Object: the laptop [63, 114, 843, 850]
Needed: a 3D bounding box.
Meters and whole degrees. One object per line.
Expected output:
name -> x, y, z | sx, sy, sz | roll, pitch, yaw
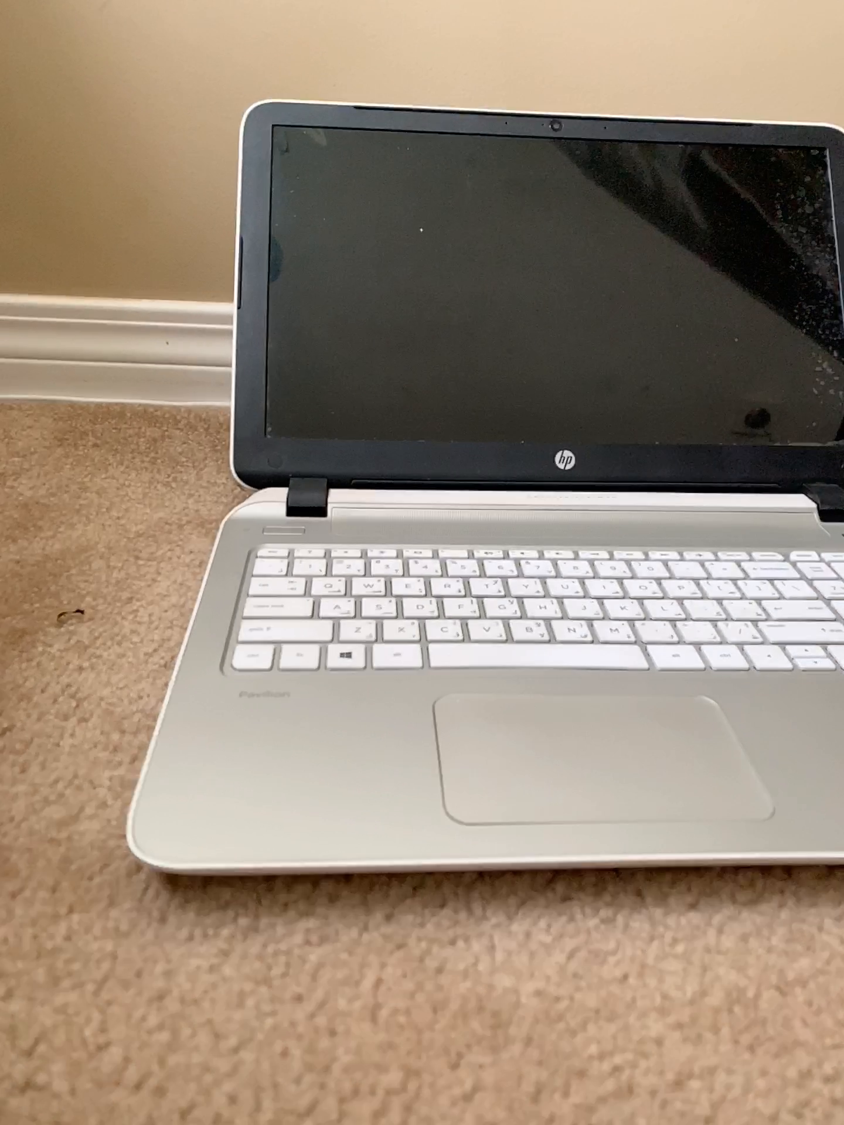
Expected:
laptop -> 0.088, -0.081, 0.375 | 0.349, 0.187, 0.351 | 0, 29, -3
